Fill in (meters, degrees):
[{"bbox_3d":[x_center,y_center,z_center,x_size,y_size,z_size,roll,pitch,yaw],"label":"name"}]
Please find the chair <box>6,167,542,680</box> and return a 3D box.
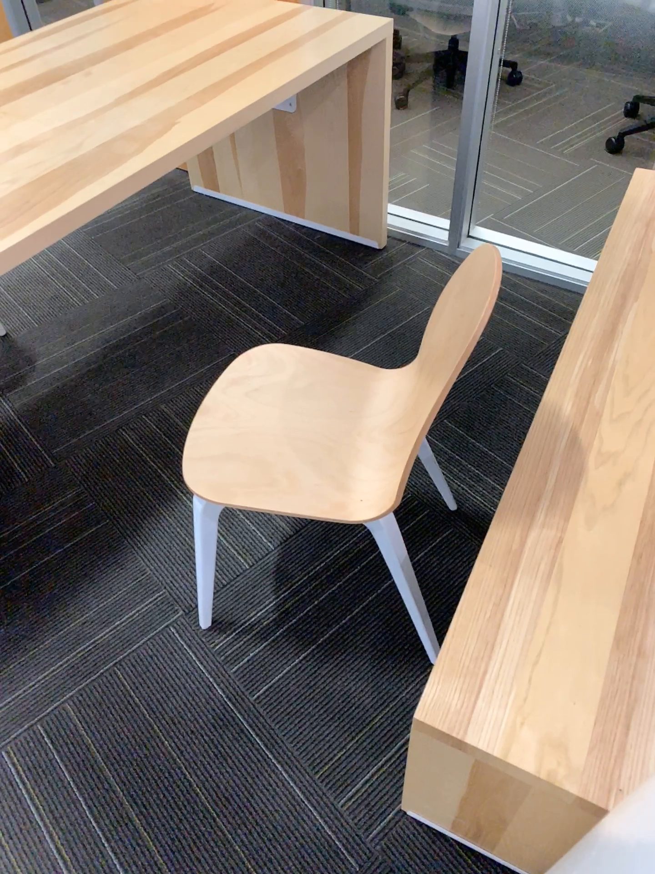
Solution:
[{"bbox_3d":[-0.027,0.001,1.247,0.650,0.766,0.522,5,48,8],"label":"chair"}]
